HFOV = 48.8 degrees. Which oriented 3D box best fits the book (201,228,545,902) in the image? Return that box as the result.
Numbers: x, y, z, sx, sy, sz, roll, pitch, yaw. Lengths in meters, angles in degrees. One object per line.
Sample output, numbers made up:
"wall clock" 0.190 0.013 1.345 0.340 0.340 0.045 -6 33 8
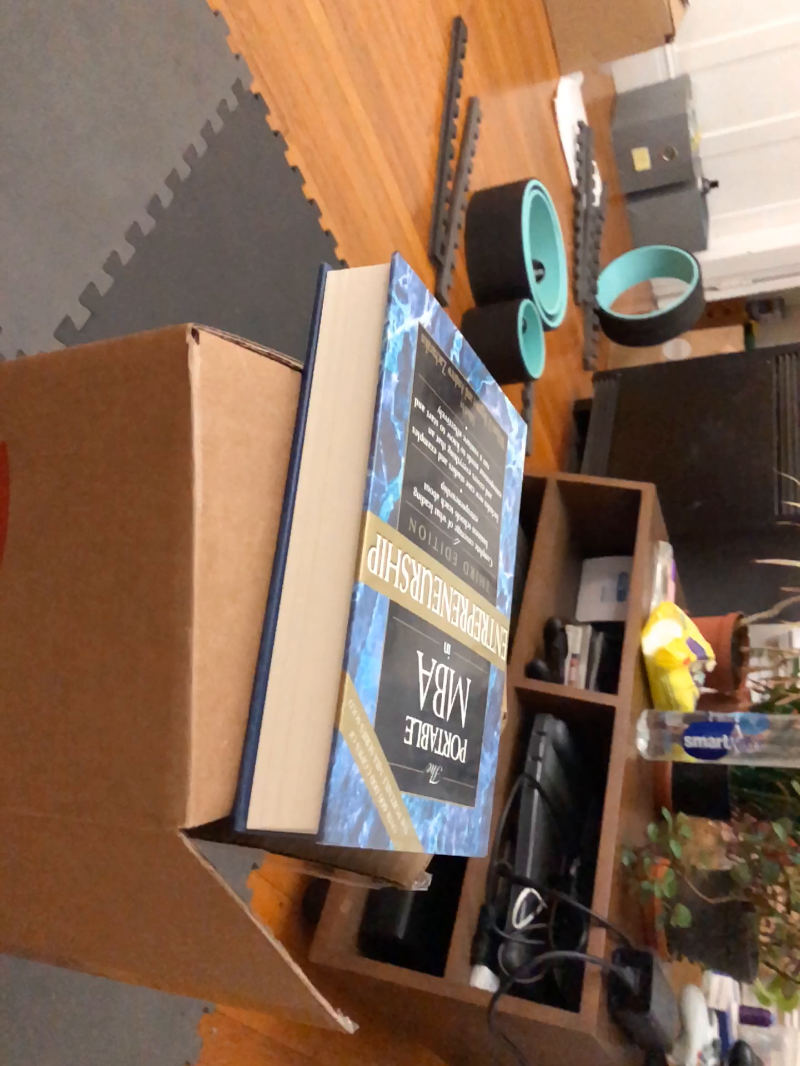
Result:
"book" 0.010 0.032 0.438 0.211 0.060 0.270 37 52 -57
